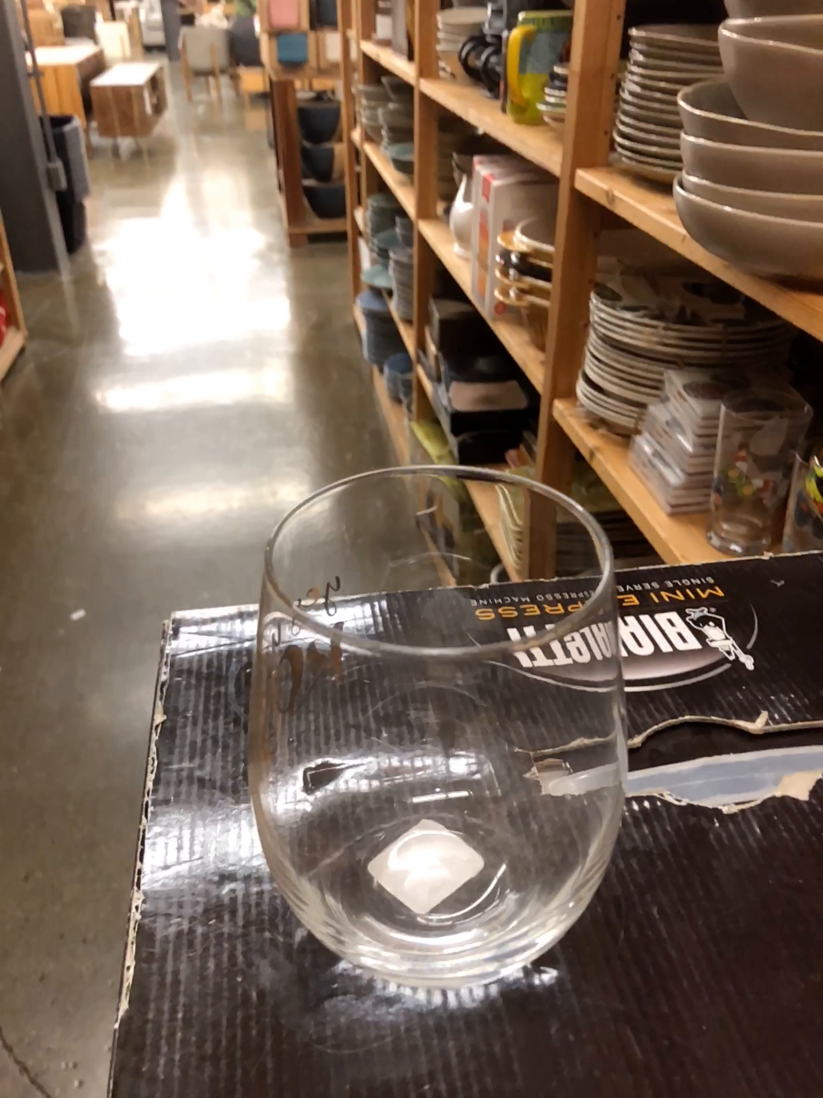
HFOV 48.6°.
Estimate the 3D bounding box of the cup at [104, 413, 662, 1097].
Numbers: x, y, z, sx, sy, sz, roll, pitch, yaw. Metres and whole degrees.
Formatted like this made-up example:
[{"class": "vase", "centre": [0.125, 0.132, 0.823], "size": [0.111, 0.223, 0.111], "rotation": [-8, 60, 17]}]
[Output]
[{"class": "cup", "centre": [0.003, 0.044, 0.218], "size": [0.090, 0.114, 0.096], "rotation": [-1, 32, 0]}]
